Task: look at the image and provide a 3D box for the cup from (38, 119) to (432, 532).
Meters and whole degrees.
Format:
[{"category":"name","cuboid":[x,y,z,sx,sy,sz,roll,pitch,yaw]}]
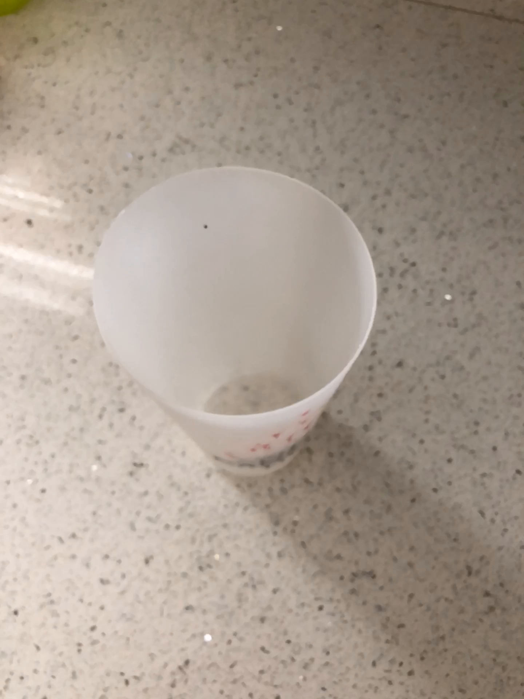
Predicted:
[{"category":"cup","cuboid":[-0.009,0.006,0.272,0.096,0.166,0.093,-1,67,2]}]
